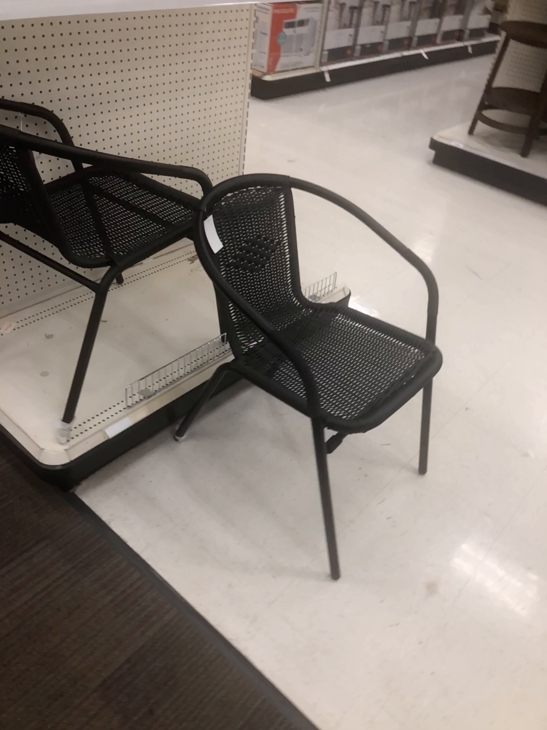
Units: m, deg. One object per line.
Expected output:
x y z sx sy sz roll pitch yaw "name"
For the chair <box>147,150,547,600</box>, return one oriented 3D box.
0.127 -0.021 1.421 0.641 0.696 0.532 32 43 30 "chair"
